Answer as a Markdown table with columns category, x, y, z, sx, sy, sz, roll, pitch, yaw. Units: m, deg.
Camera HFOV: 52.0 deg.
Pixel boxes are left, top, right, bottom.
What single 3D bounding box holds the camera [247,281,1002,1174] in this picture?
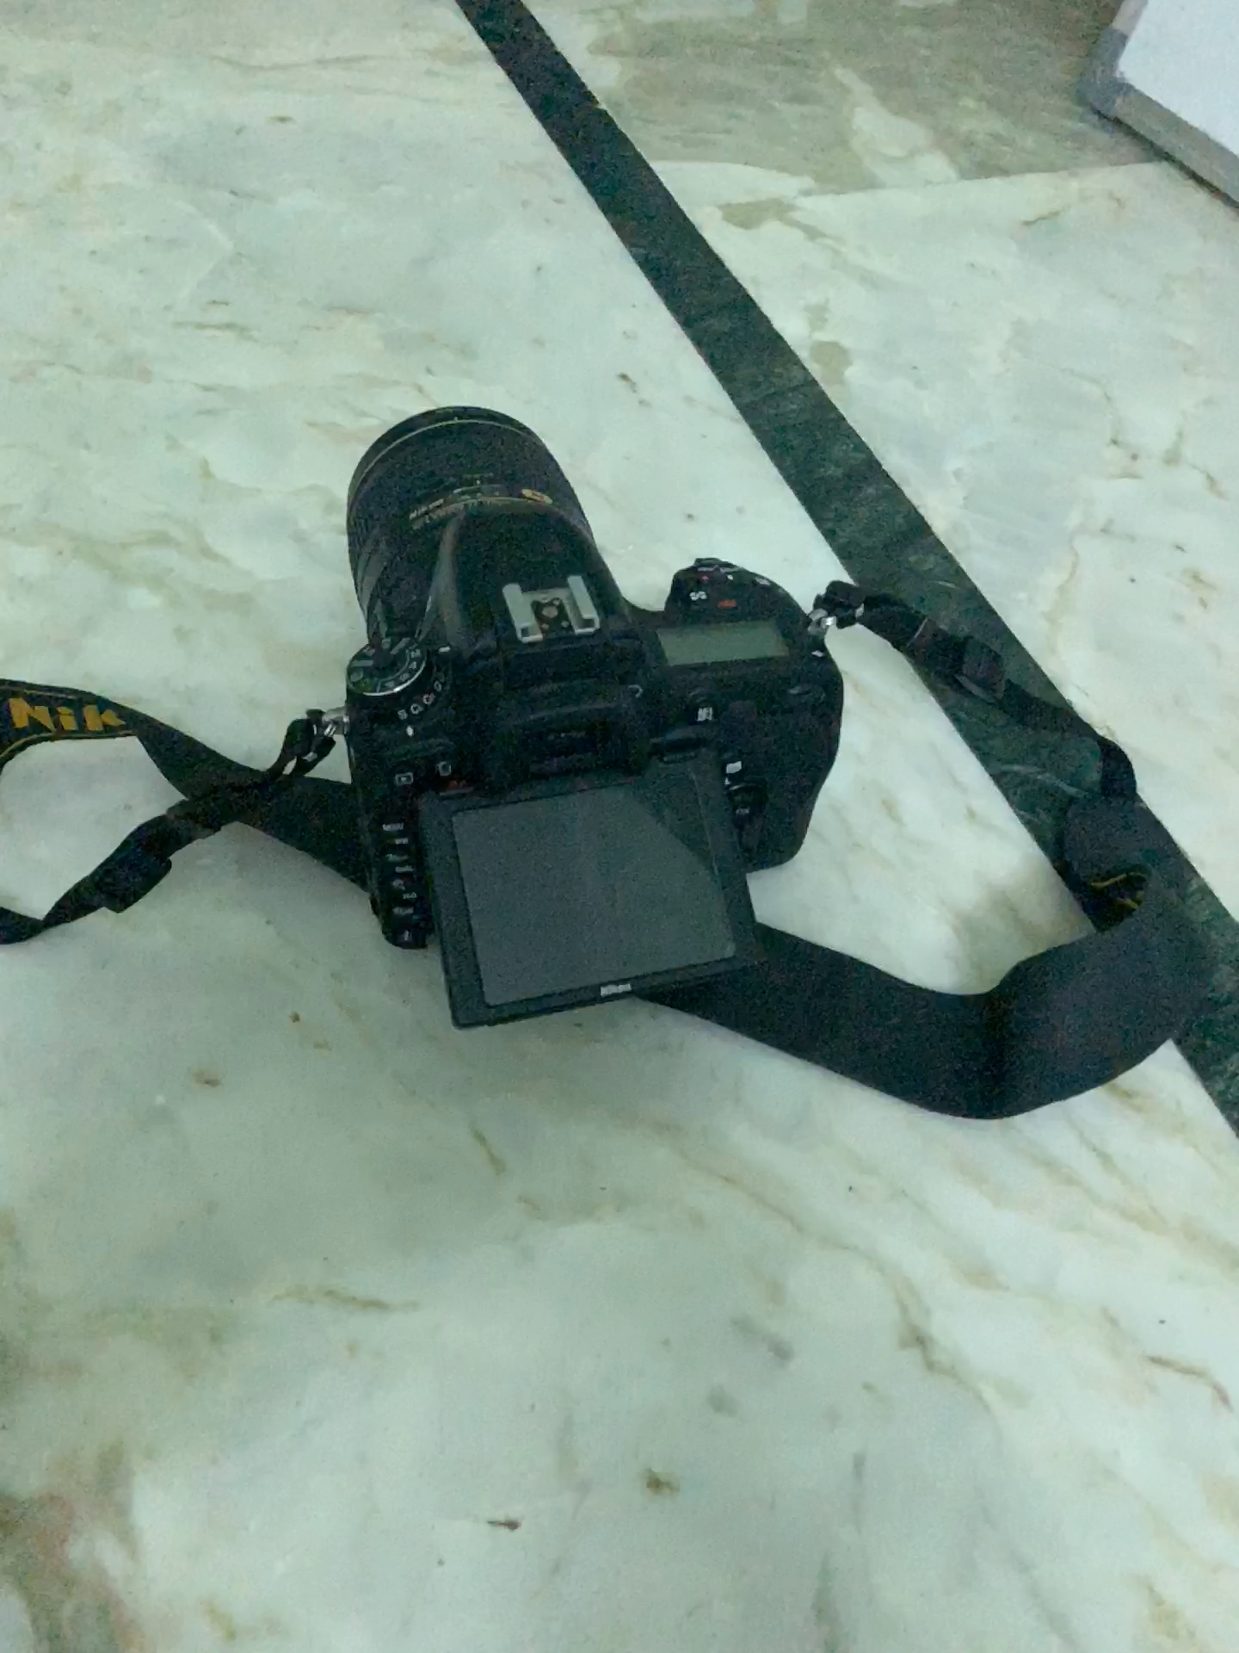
| category | x | y | z | sx | sy | sz | roll | pitch | yaw |
| --- | --- | --- | --- | --- | --- | --- | --- | --- | --- |
| camera | -0.021 | -0.050 | 0.384 | 0.146 | 0.100 | 0.259 | -9 | 50 | -11 |
